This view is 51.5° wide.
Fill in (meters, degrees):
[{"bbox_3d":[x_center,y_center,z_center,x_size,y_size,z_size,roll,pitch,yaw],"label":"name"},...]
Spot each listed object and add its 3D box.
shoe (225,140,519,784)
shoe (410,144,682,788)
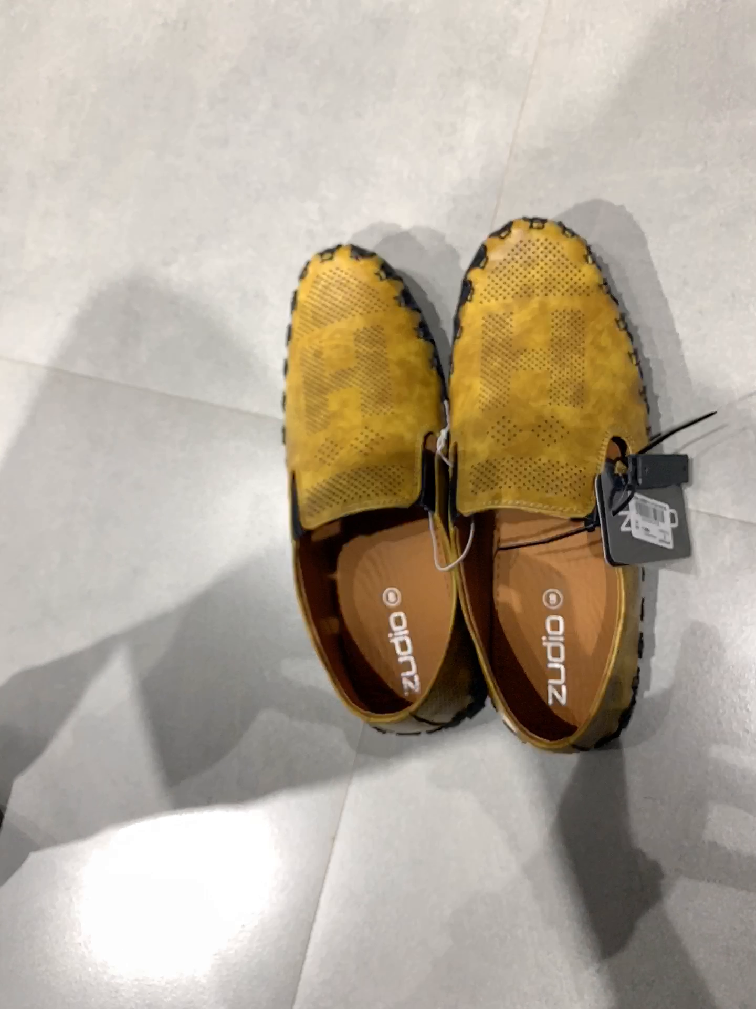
[{"bbox_3d":[0.000,-0.018,0.457,0.100,0.120,0.320,-10,81,19],"label":"shoe"},{"bbox_3d":[0.086,-0.016,0.405,0.110,0.080,0.290,-4,83,20],"label":"shoe"}]
